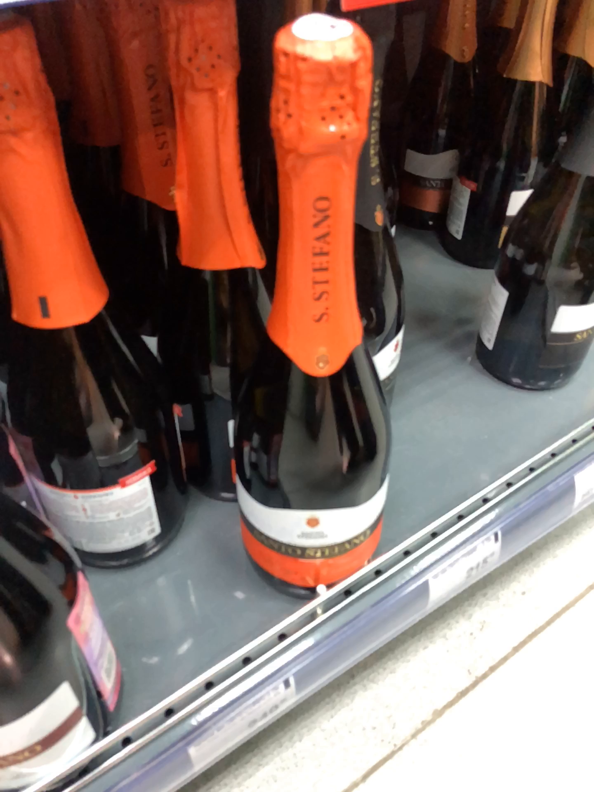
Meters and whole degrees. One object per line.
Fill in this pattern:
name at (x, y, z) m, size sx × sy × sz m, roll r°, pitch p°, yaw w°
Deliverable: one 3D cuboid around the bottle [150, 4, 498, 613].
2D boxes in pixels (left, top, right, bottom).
bottle at (0.008, -0.013, 0.325) m, size 0.100 × 0.298 × 0.101 m, roll 0°, pitch 43°, yaw 0°
